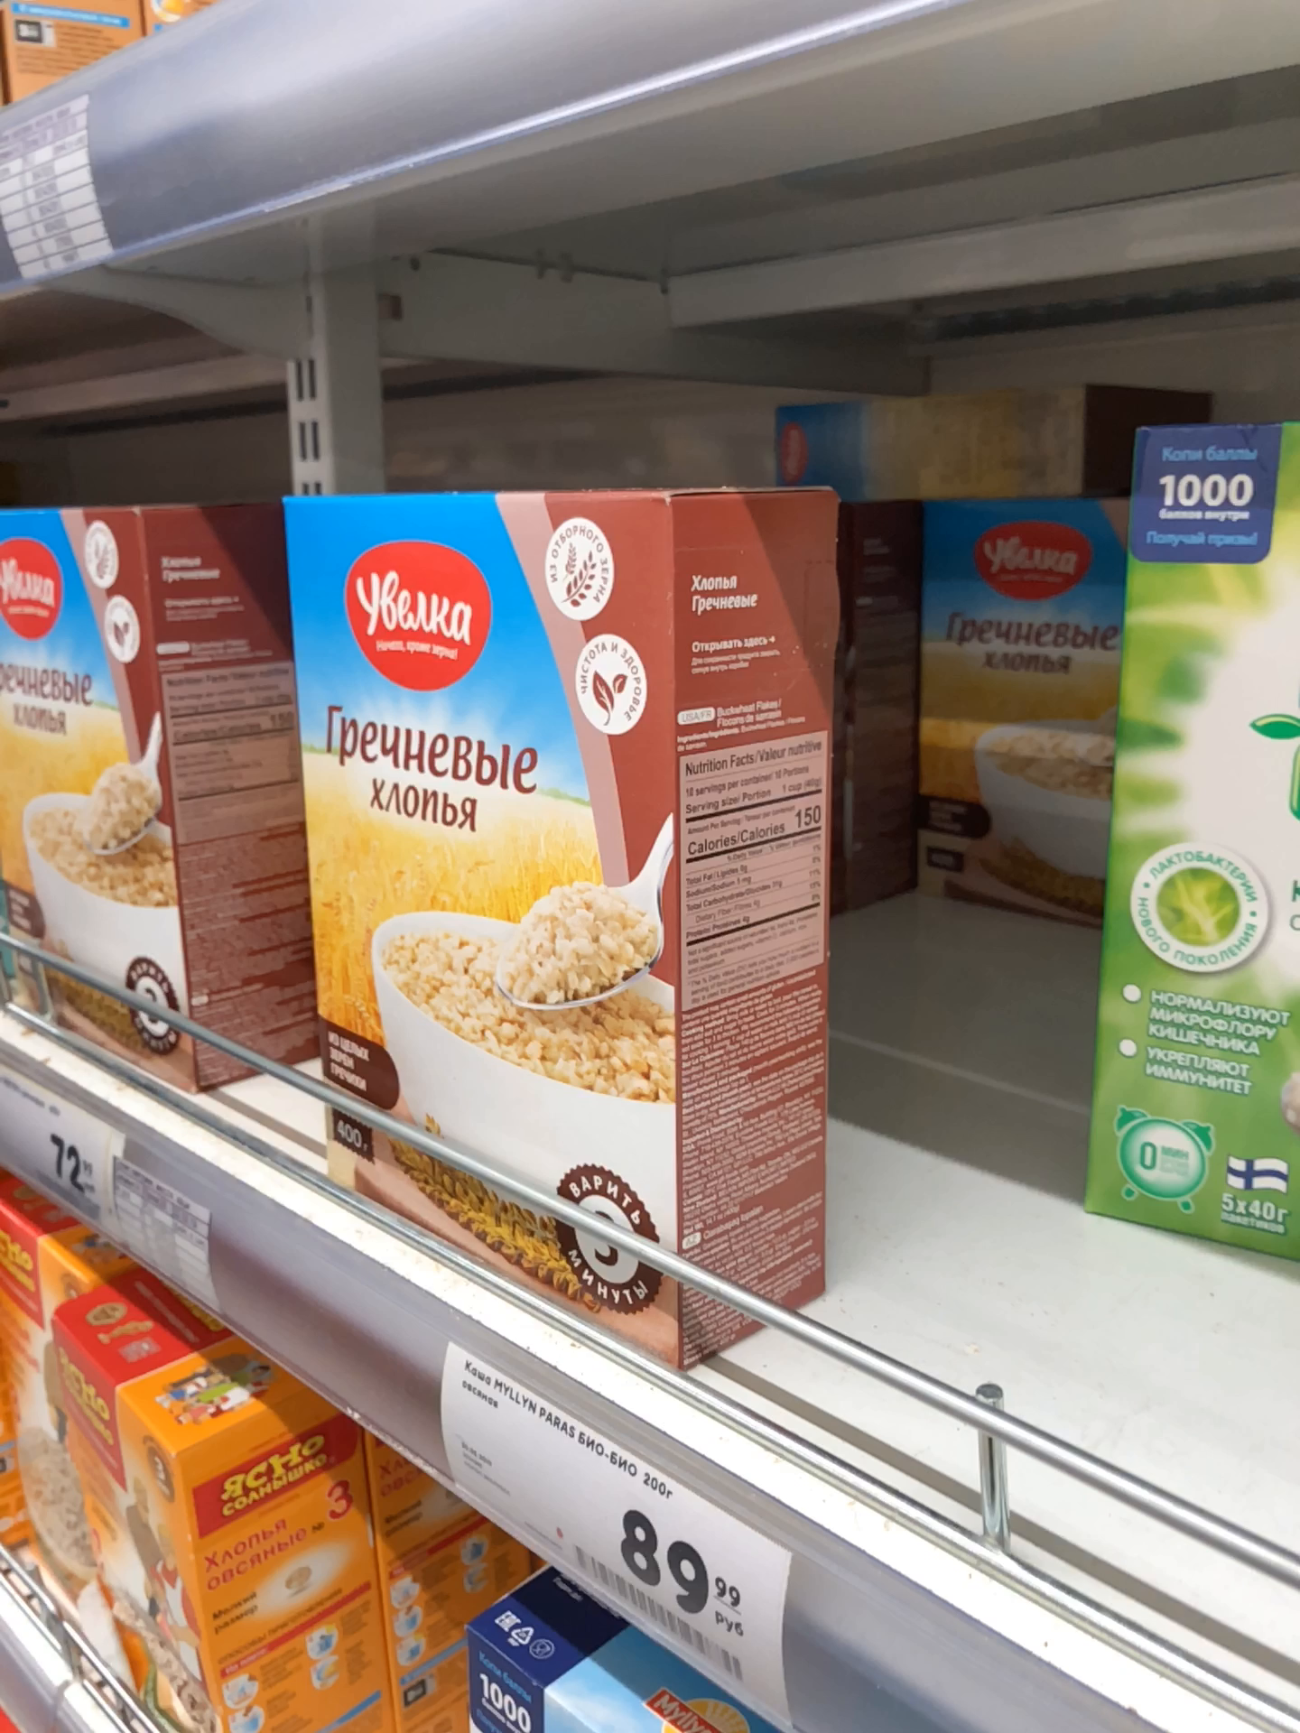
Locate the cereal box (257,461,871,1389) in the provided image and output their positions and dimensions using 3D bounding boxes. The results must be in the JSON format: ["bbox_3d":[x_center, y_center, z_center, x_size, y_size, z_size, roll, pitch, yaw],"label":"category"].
[{"bbox_3d":[-0.026,0.001,0.358,0.060,0.189,0.150,-13,18,-42],"label":"cereal box"}]
